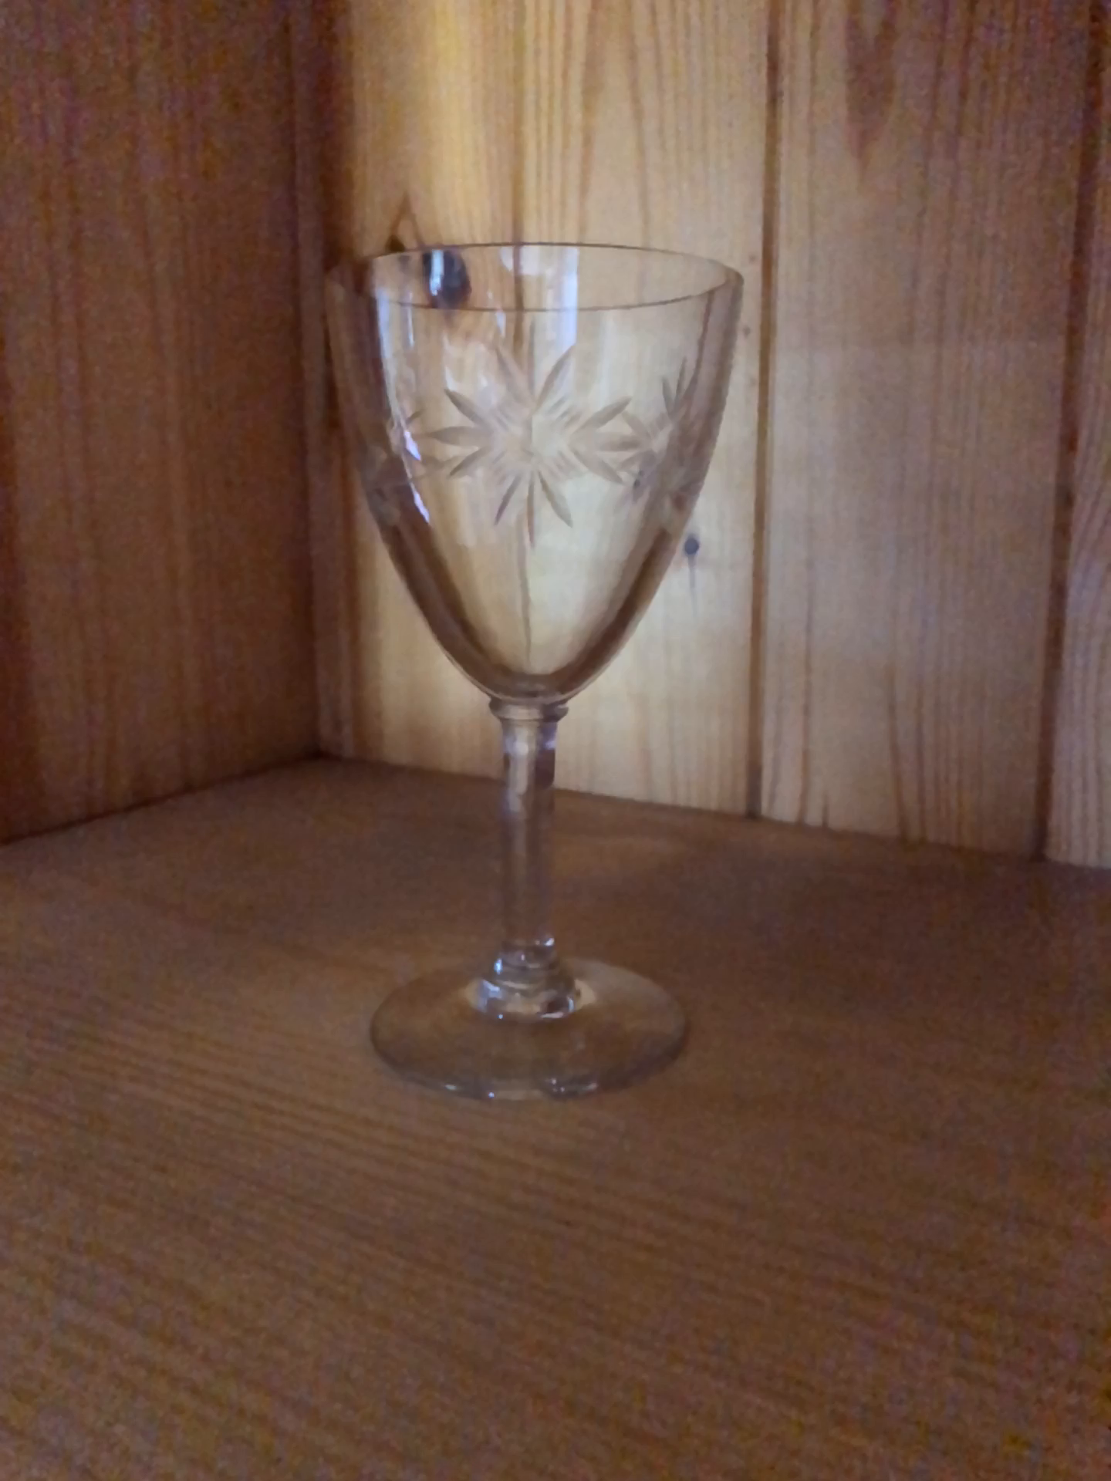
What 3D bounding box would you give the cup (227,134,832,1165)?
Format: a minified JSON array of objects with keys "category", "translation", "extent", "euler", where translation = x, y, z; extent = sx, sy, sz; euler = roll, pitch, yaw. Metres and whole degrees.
[{"category":"cup","translation":[-0.004,-0.017,0.215],"extent":[0.070,0.140,0.070],"euler":[0,11,0]}]
